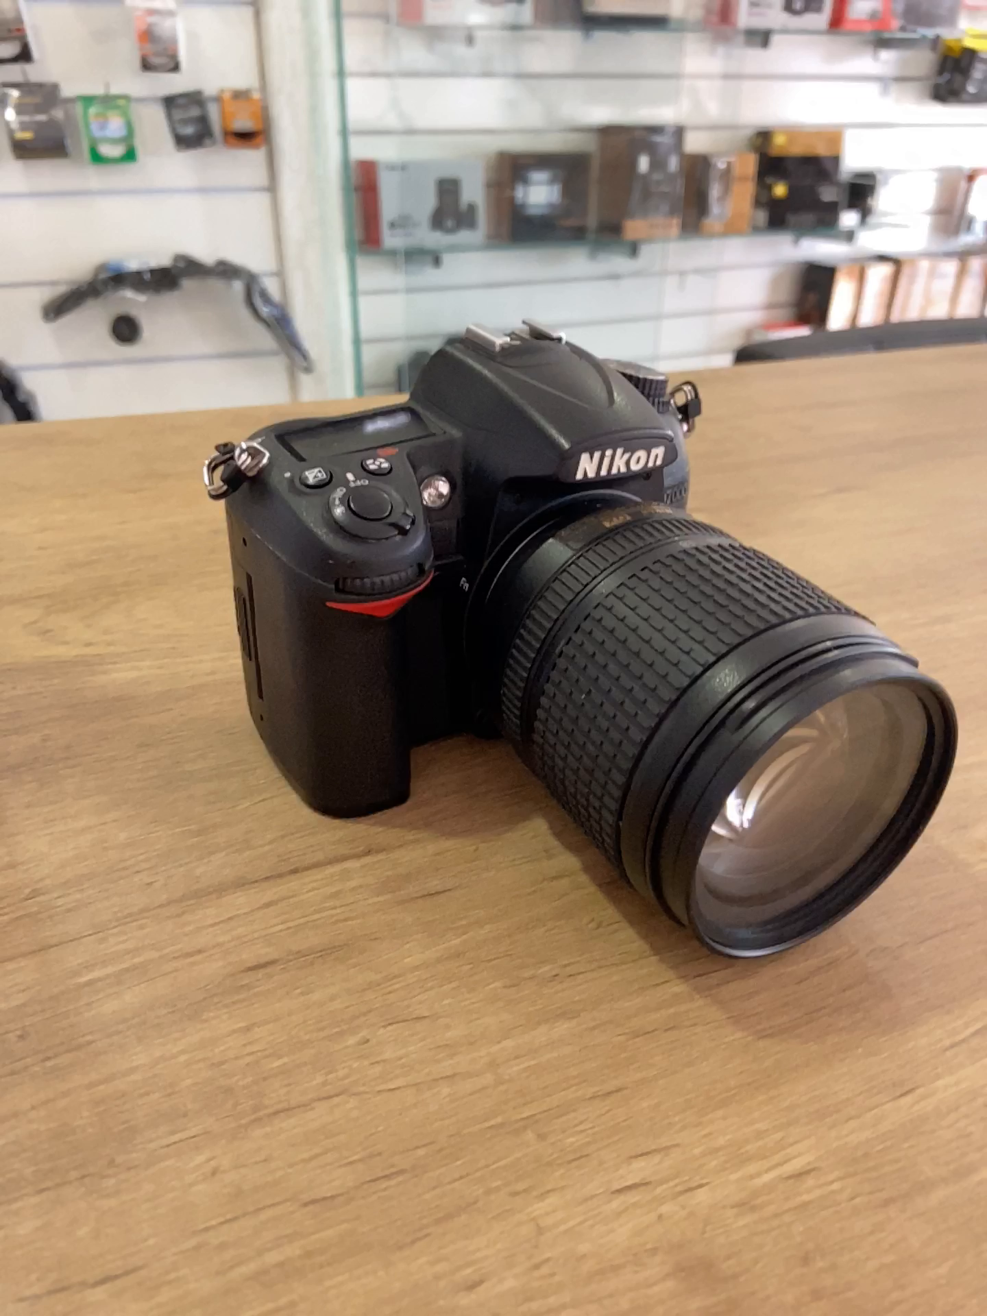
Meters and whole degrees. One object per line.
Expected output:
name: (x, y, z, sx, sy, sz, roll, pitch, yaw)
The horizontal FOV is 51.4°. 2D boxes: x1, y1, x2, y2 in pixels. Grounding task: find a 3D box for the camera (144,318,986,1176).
camera: (0.018, -0.008, 0.242, 0.140, 0.099, 0.161, -17, 33, -28)
